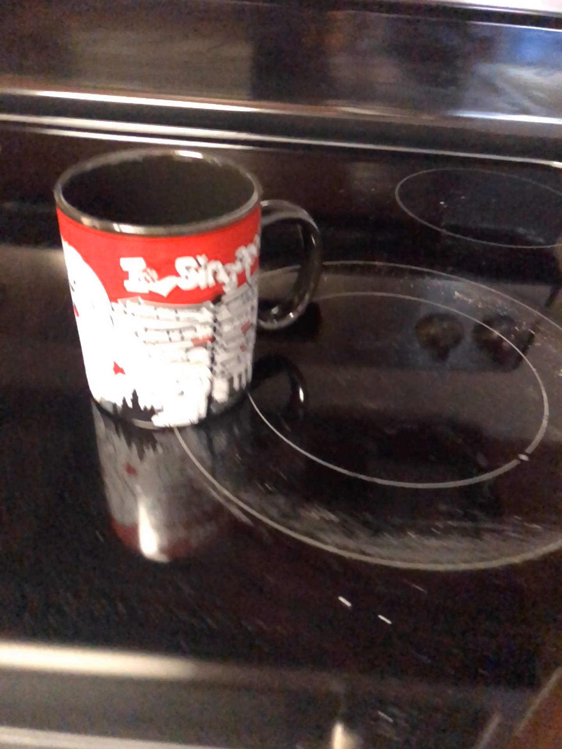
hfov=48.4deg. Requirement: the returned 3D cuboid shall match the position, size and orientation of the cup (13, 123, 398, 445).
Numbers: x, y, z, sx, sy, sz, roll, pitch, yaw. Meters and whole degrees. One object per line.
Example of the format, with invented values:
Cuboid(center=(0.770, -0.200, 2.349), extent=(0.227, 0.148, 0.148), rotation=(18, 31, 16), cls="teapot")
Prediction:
Cuboid(center=(-0.036, -0.047, 0.275), extent=(0.130, 0.090, 0.090), rotation=(-12, 41, -20), cls="cup")
